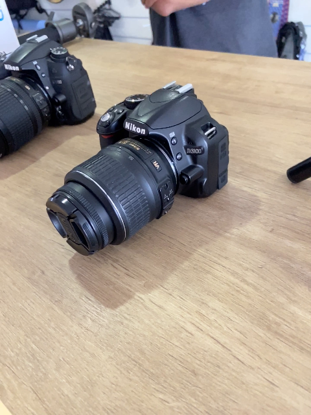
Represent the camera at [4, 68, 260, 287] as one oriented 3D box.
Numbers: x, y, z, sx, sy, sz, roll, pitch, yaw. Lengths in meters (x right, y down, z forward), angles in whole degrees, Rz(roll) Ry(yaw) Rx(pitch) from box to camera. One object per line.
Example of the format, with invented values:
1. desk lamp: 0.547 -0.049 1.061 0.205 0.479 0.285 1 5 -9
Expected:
1. camera: -0.010 -0.046 0.301 0.130 0.089 0.181 26 51 35
